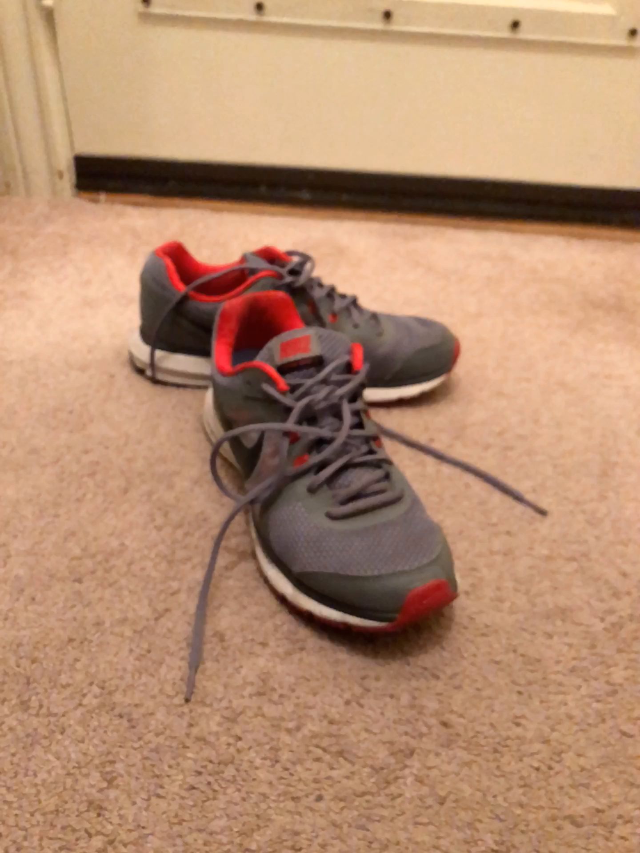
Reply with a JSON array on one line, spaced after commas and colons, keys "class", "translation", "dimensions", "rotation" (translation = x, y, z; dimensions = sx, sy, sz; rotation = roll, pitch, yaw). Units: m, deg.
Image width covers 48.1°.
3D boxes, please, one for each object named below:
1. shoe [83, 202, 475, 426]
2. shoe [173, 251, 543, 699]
[{"class": "shoe", "translation": [-0.029, -0.100, 0.615], "dimensions": [0.297, 0.119, 0.114], "rotation": [7, 36, 5]}, {"class": "shoe", "translation": [-0.003, 0.003, 0.478], "dimensions": [0.113, 0.119, 0.299], "rotation": [-12, 39, -20]}]
